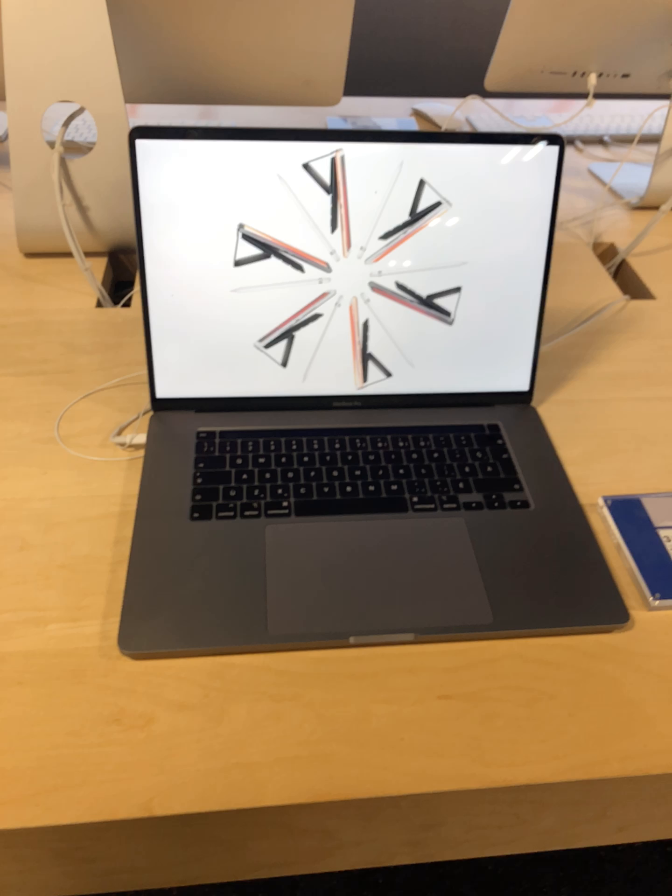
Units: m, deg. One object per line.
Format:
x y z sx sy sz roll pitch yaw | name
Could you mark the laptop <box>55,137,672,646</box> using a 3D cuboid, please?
0.023 -0.059 0.562 0.352 0.230 0.316 -2 42 -6 | laptop
